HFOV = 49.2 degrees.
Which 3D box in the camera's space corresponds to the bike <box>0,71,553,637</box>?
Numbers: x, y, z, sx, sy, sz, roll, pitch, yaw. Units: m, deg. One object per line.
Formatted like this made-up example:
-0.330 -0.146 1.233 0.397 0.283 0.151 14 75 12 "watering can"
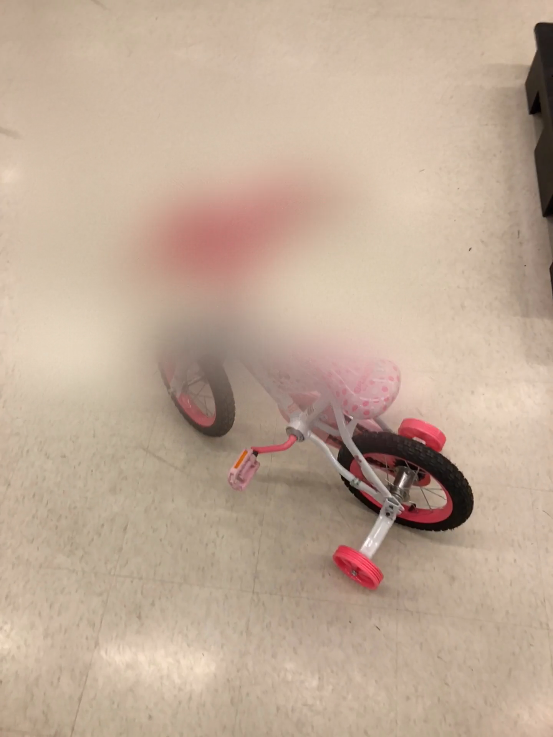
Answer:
0.058 -0.008 1.154 0.774 0.681 0.511 27 61 18 "bike"
